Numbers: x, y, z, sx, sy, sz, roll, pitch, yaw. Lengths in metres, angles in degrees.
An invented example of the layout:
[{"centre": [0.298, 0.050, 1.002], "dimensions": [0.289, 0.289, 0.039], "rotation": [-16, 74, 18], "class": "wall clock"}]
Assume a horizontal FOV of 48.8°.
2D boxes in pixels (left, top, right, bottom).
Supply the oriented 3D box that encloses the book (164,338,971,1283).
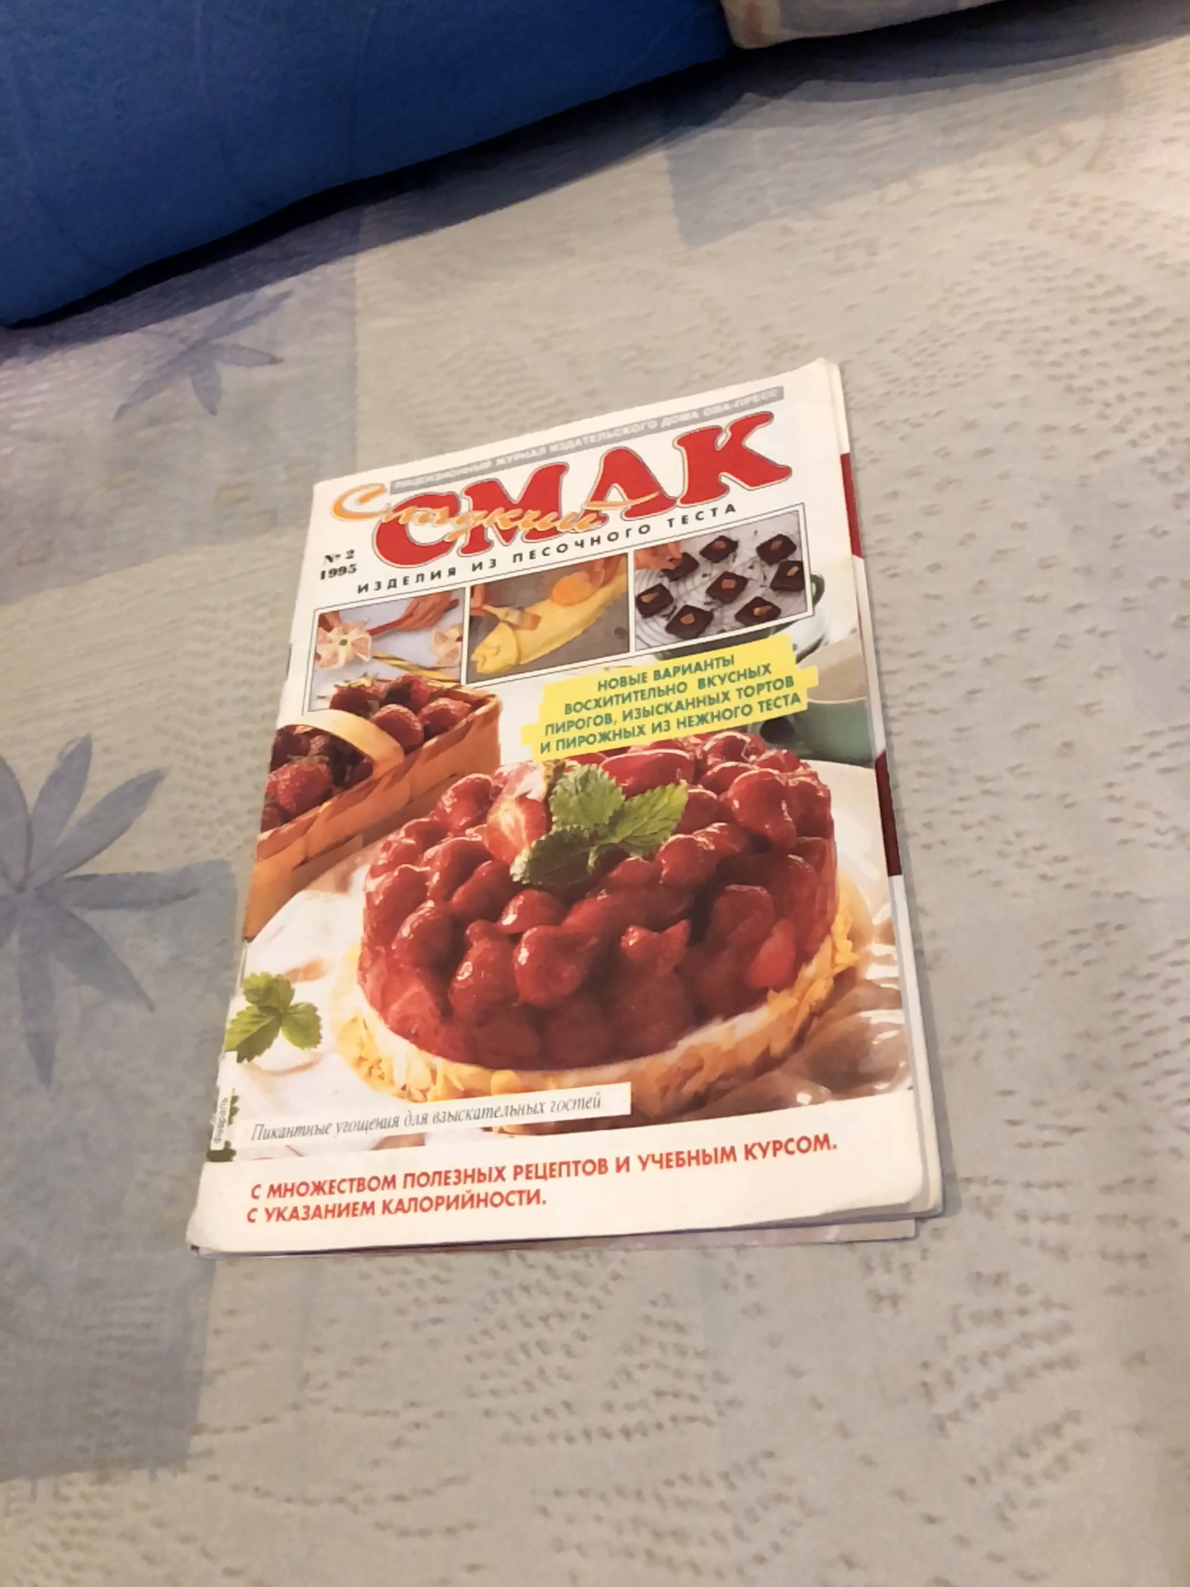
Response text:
[{"centre": [-0.010, -0.005, 0.342], "dimensions": [0.177, 0.020, 0.241], "rotation": [-10, 58, 17], "class": "book"}]
